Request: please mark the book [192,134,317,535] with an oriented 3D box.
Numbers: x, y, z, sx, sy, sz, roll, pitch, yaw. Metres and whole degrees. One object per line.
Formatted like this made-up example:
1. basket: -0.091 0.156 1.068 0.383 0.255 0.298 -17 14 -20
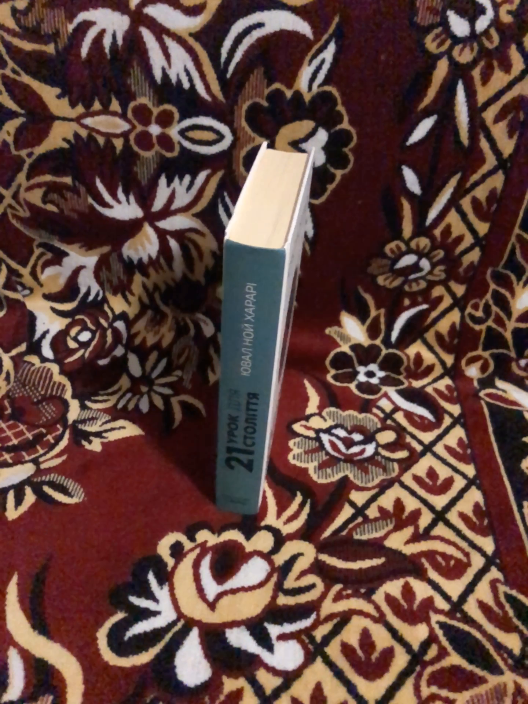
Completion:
1. book: -0.006 -0.011 0.386 0.040 0.211 0.154 9 37 6
